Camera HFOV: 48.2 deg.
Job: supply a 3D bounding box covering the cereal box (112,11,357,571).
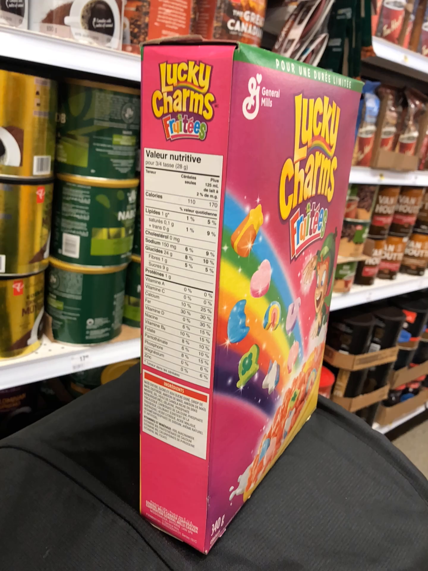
[{"bbox_3d":[0.021,0.003,0.332,0.060,0.299,0.201,14,20,26],"label":"cereal box"}]
